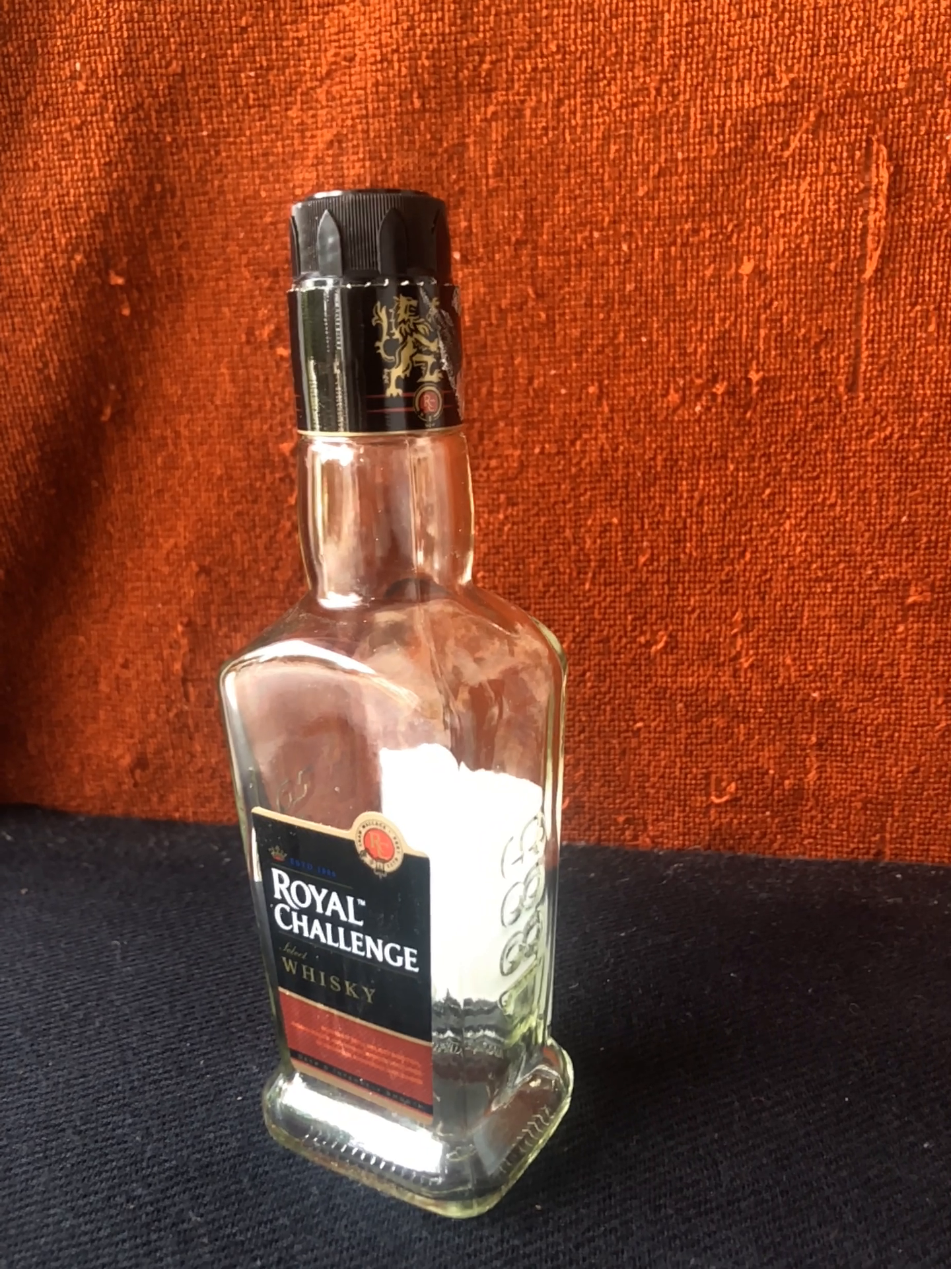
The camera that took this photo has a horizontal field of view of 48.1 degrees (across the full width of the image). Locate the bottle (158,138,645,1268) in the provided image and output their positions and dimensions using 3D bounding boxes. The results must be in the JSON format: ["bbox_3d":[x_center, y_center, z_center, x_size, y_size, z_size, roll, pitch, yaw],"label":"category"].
[{"bbox_3d":[-0.010,0.018,0.196,0.060,0.189,0.050,9,19,29],"label":"bottle"}]
